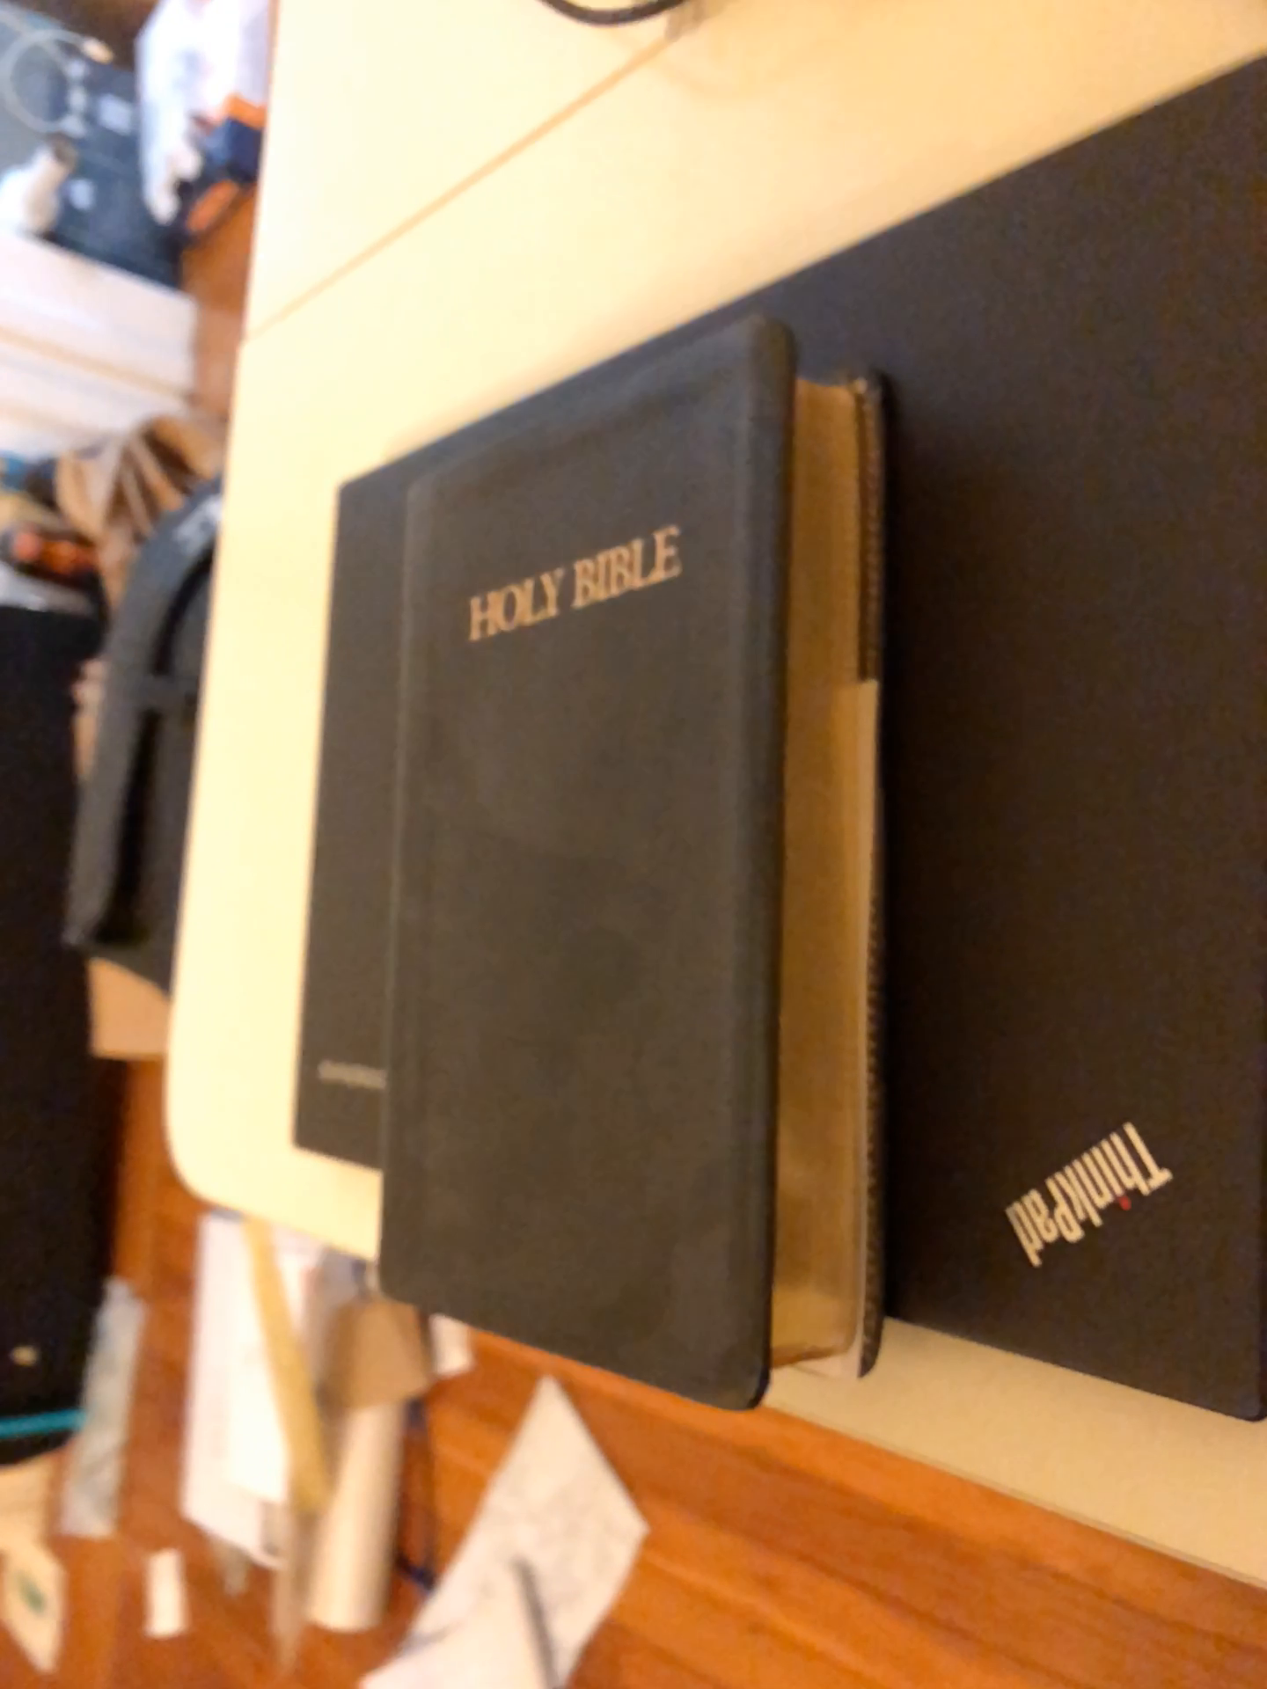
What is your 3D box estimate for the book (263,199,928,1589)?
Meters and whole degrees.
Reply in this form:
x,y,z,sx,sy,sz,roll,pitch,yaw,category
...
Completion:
x,y,z,sx,sy,sz,roll,pitch,yaw,category
-0.017,0.009,0.323,0.171,0.040,0.240,-6,78,50,book
